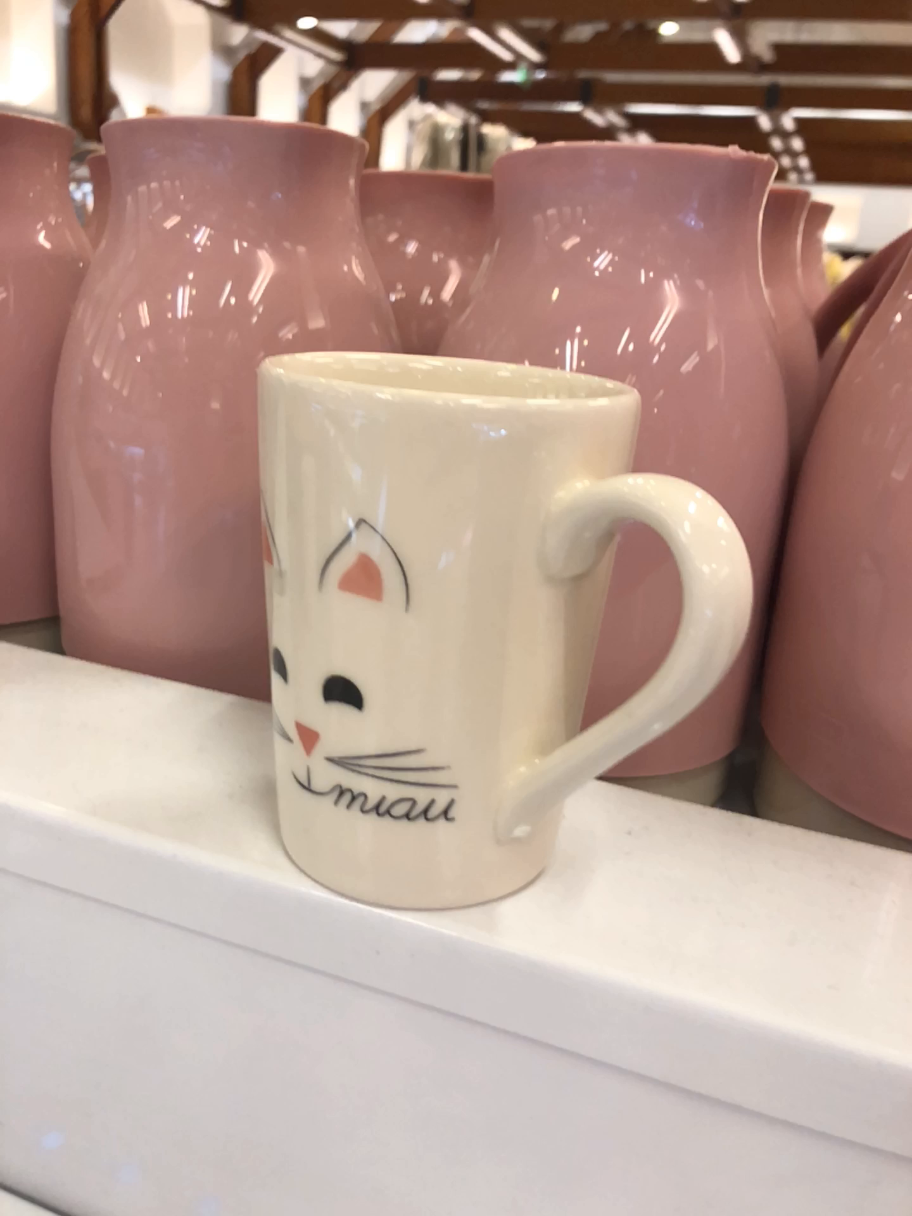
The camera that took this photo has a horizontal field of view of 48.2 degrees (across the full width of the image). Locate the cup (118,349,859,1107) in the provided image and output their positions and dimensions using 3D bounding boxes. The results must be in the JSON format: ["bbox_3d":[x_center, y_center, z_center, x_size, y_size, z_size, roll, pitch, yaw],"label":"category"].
[{"bbox_3d":[0.002,0.006,0.201,0.110,0.099,0.080,17,22,34],"label":"cup"}]
